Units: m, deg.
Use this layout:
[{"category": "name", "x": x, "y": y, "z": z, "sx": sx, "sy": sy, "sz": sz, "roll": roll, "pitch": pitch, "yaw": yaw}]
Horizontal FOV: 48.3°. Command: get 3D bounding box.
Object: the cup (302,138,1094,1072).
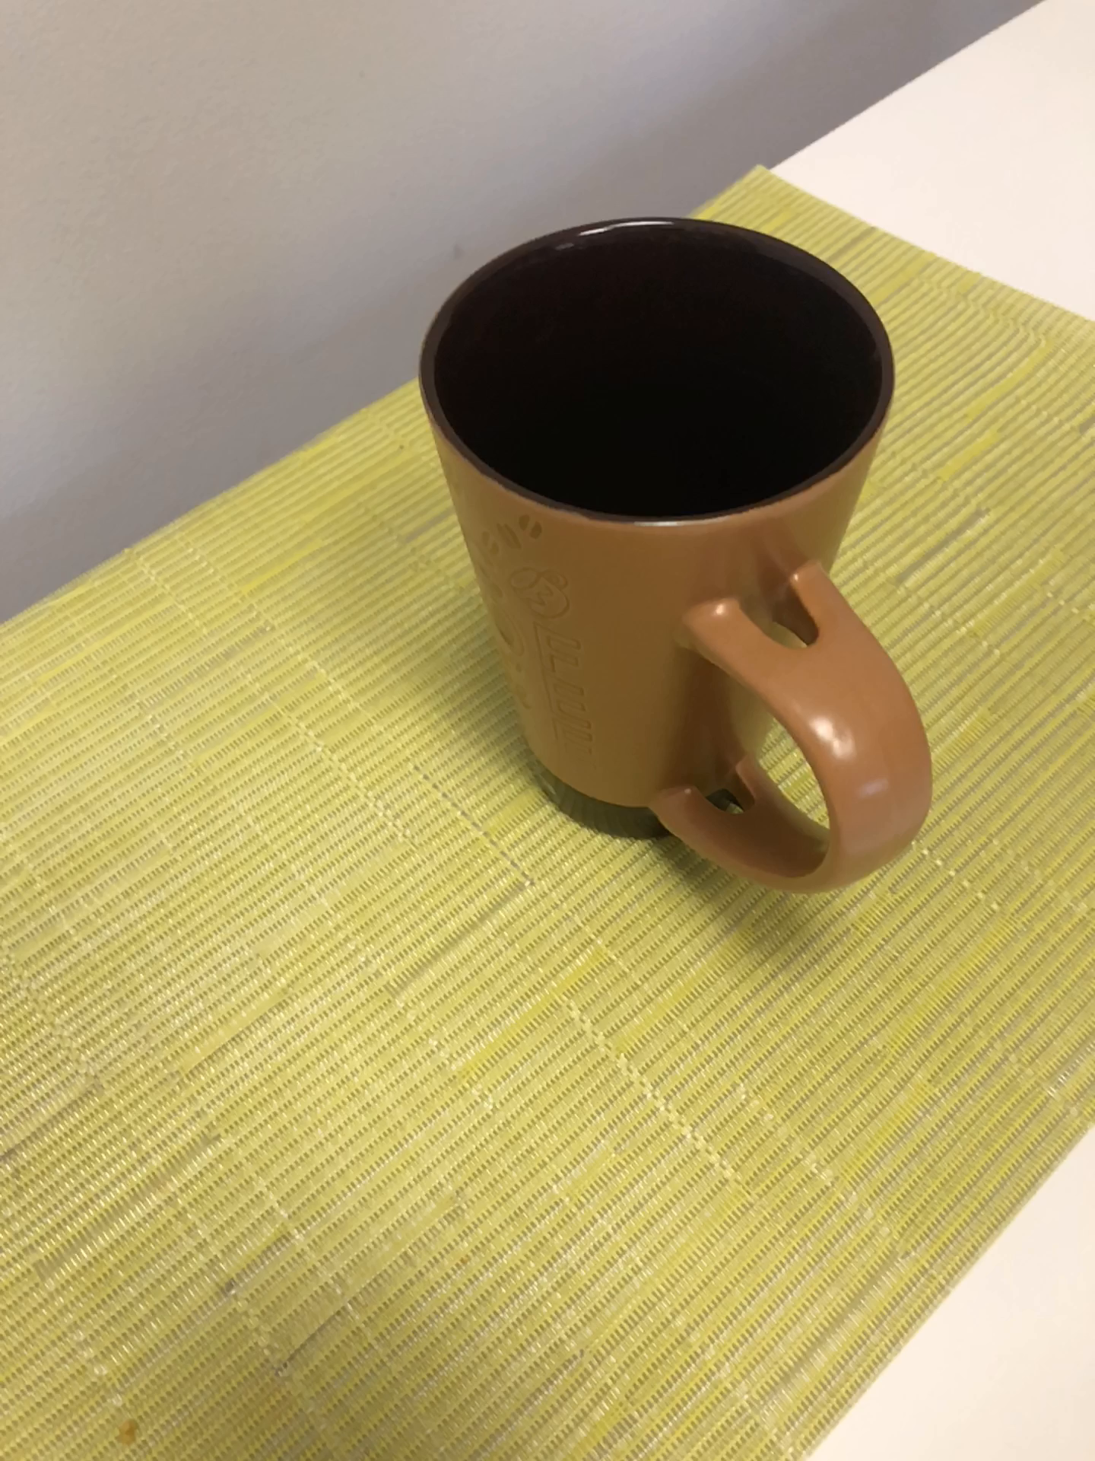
[{"category": "cup", "x": 0.027, "y": -0.025, "z": 0.257, "sx": 0.090, "sy": 0.120, "sz": 0.126, "roll": -27, "pitch": 56, "yaw": -15}]
